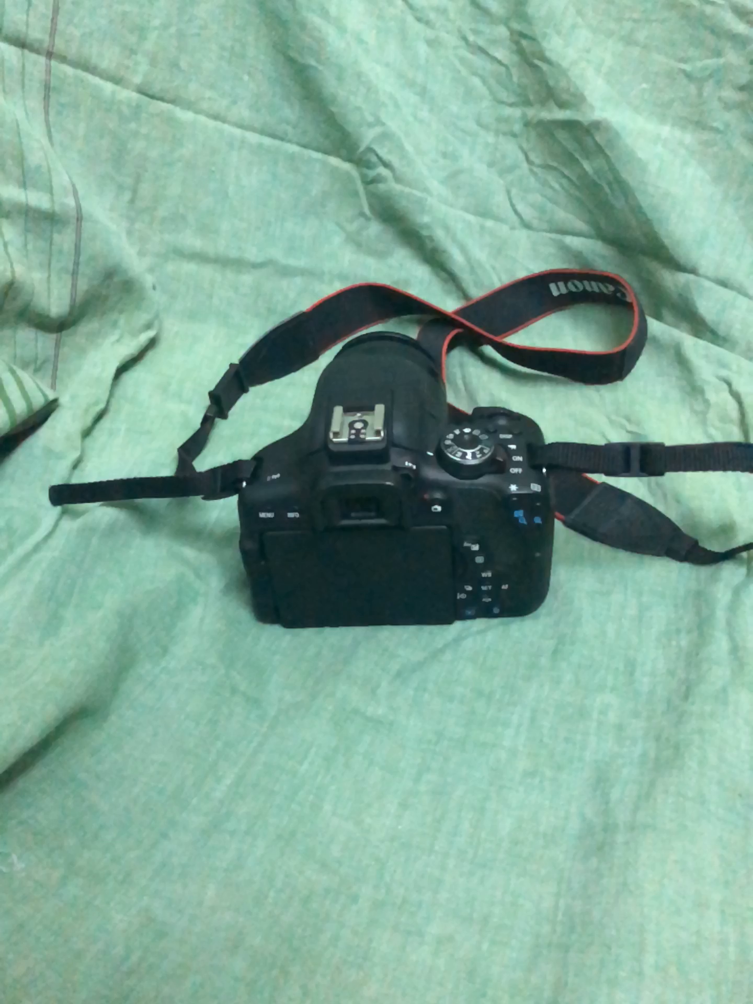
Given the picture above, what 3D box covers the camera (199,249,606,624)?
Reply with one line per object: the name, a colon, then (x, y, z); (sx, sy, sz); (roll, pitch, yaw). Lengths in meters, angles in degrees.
camera: (0.011, -0.035, 0.376); (0.142, 0.099, 0.145); (1, 43, 1)
